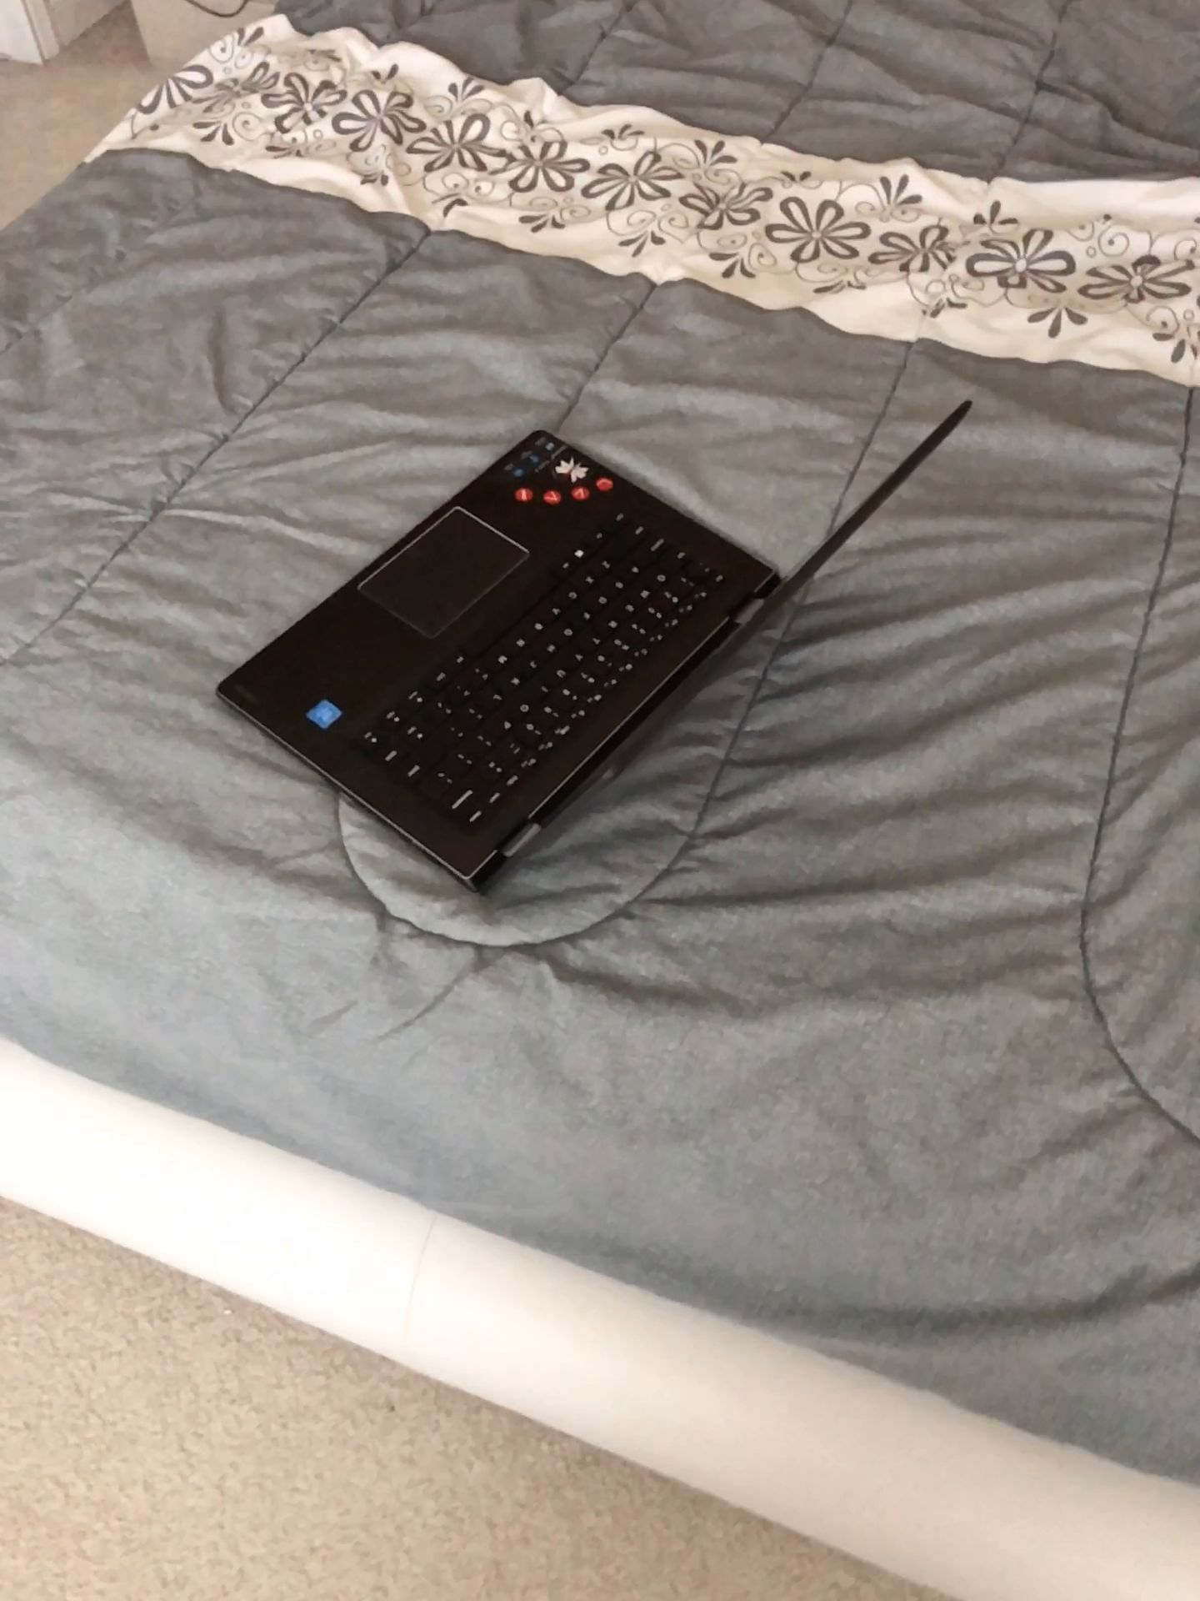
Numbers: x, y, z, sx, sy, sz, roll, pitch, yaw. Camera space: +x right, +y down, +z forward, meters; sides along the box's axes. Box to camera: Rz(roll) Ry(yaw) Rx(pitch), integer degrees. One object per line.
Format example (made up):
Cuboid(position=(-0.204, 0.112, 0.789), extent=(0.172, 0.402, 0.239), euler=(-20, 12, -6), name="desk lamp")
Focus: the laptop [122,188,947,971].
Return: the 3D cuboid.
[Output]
Cuboid(position=(-0.030, -0.165, 0.894), extent=(0.352, 0.214, 0.361), euler=(34, 62, 21), name="laptop")
